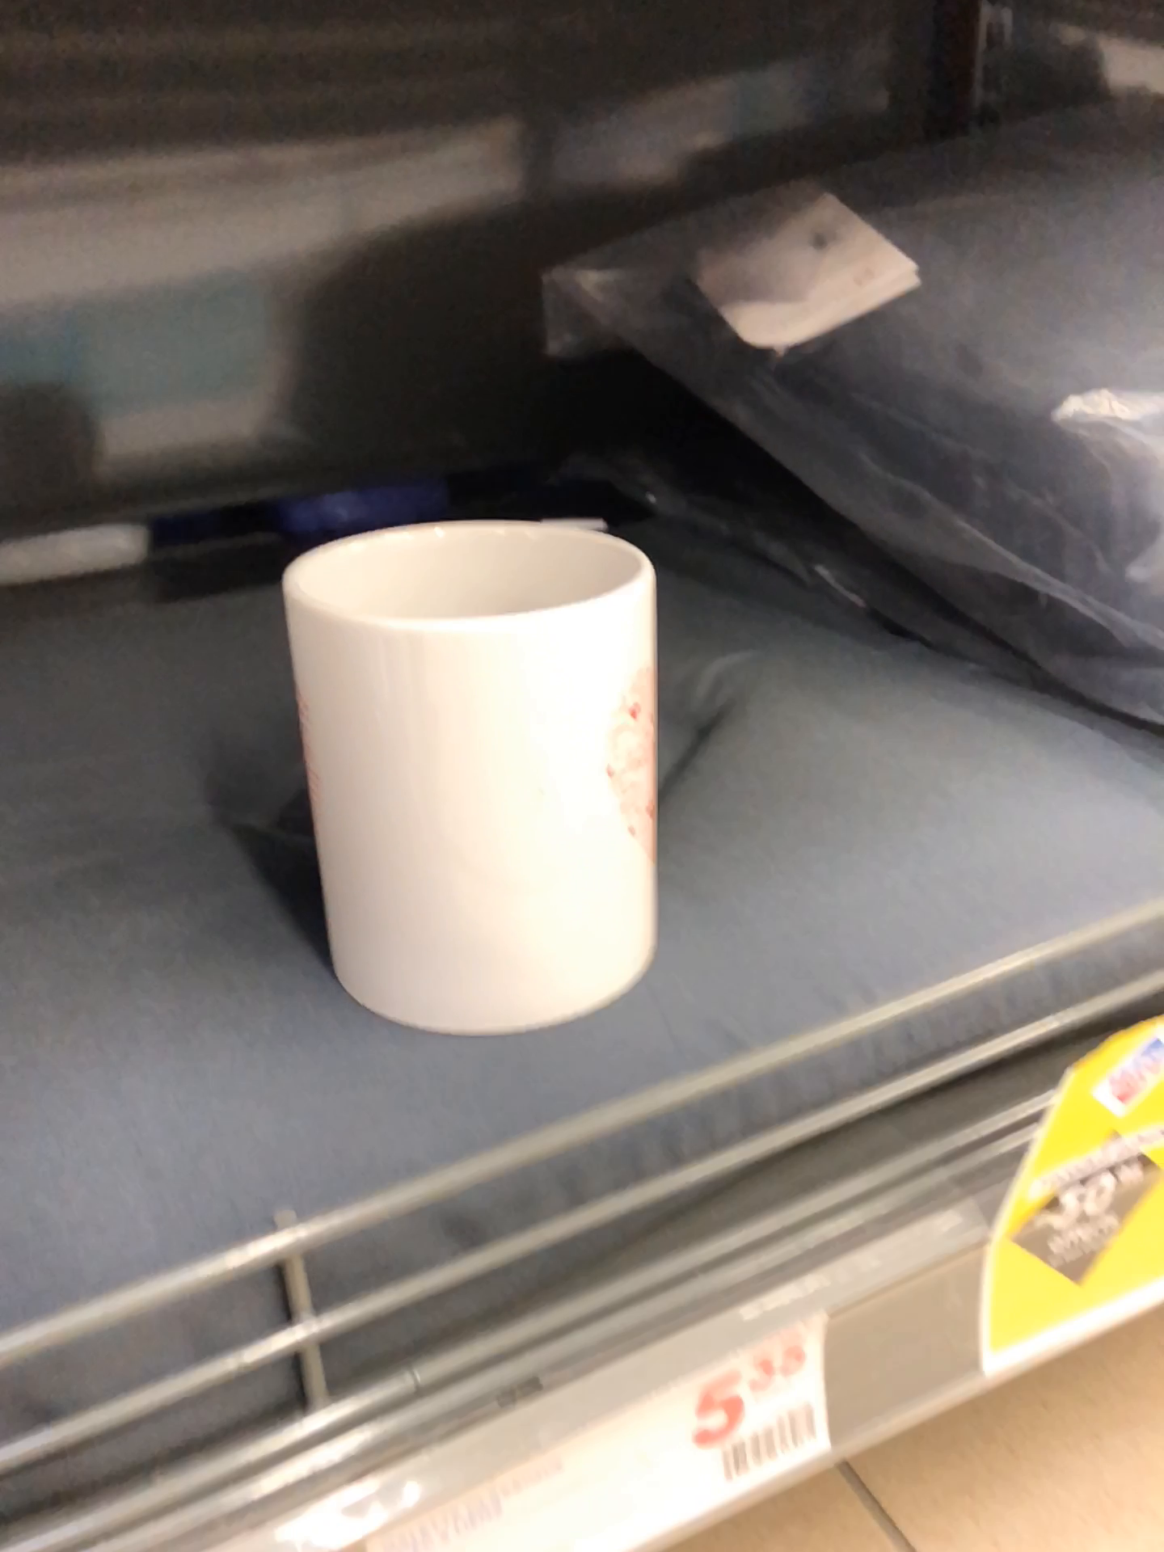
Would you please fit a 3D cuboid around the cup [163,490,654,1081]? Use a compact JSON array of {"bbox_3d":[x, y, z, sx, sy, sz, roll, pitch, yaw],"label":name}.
[{"bbox_3d":[-0.029,-0.005,0.316,0.090,0.099,0.121,-1,26,4],"label":"cup"}]
